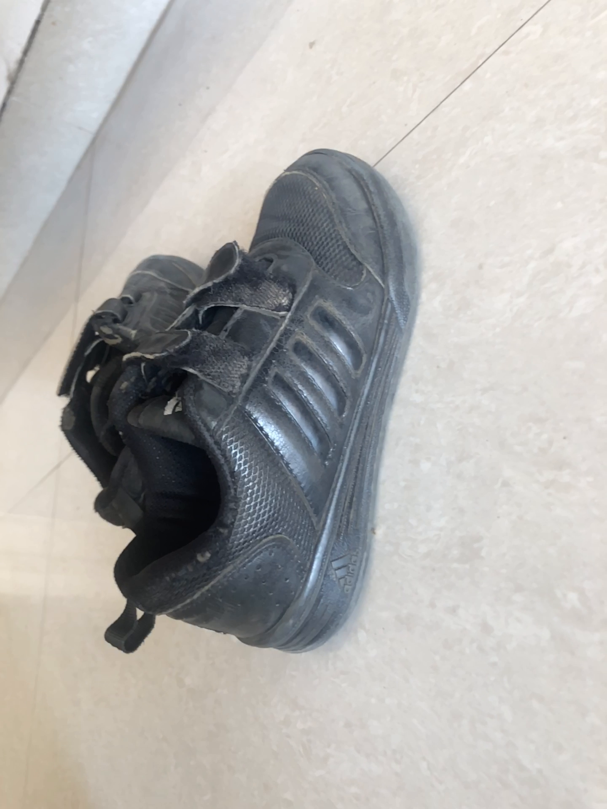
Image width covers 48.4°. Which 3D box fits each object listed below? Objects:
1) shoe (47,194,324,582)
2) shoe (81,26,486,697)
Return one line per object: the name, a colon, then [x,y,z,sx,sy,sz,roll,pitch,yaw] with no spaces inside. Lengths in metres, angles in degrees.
shoe: [-0.080,-0.017,0.375,0.100,0.079,0.201,-57,38,26]
shoe: [-0.006,-0.009,0.282,0.101,0.099,0.220,-7,72,55]
